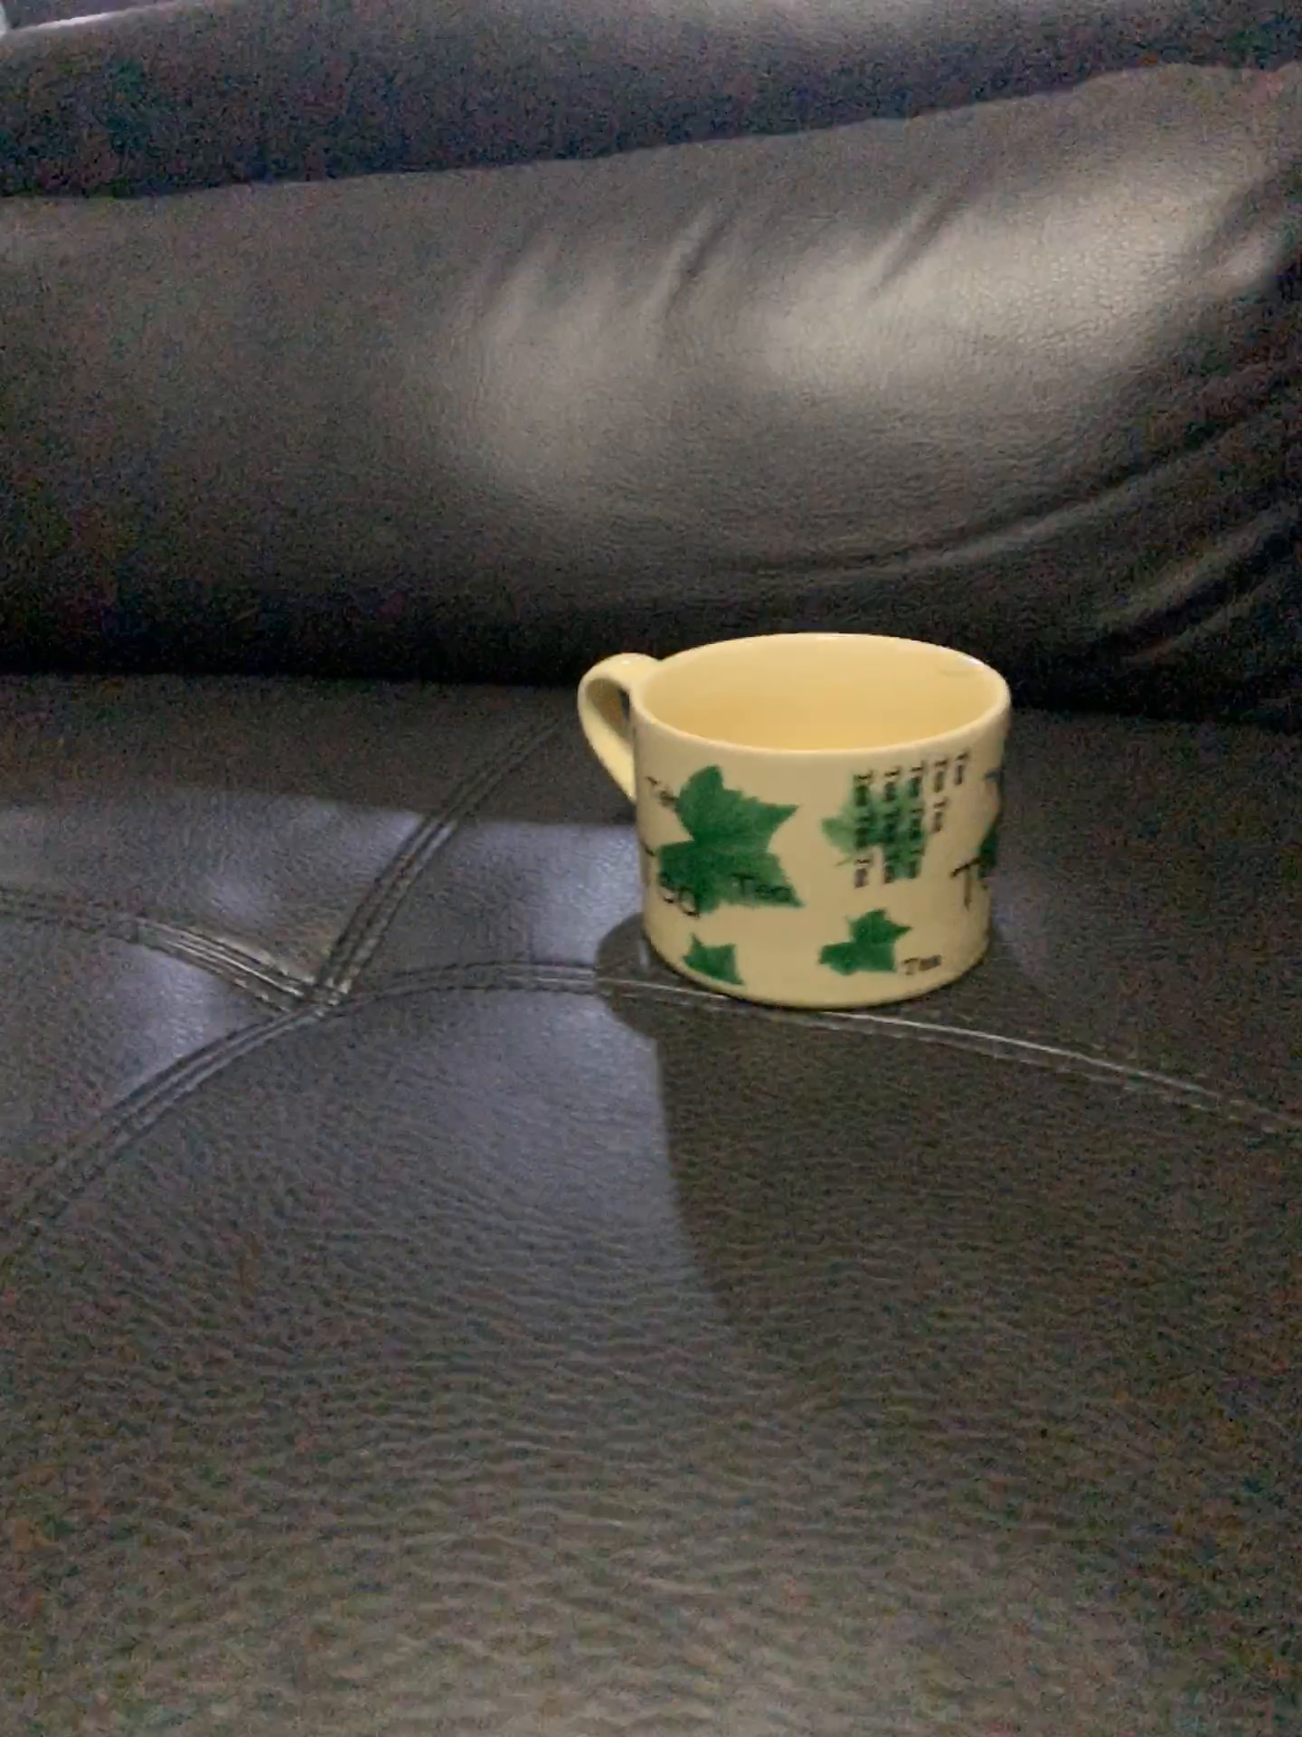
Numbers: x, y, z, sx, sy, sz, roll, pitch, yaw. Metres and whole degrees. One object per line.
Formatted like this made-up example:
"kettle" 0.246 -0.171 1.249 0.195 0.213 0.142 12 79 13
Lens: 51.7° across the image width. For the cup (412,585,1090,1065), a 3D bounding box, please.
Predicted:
"cup" 0.022 -0.020 0.307 0.119 0.060 0.091 17 32 40
